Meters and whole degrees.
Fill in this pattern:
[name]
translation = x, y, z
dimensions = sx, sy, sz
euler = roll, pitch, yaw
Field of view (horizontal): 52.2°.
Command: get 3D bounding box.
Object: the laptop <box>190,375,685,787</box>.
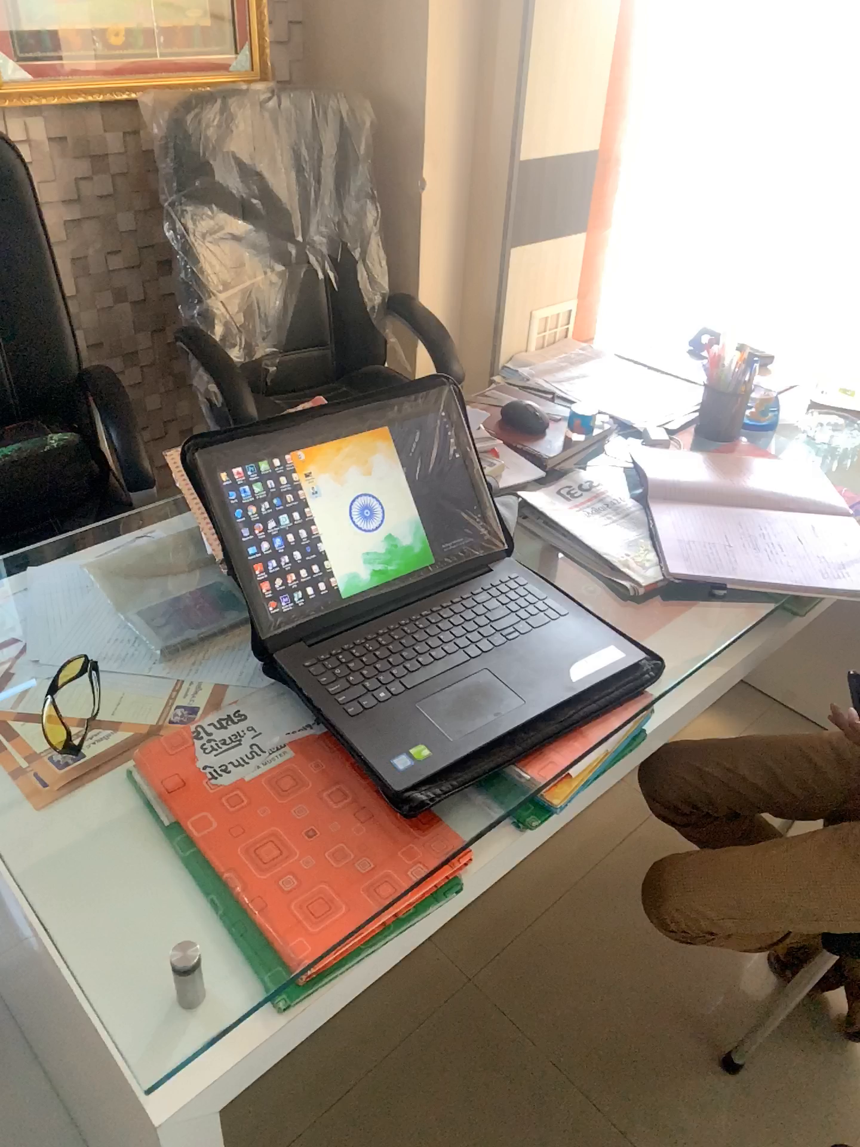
[laptop]
translation = -0.009, -0.029, 0.943
dimensions = 0.334, 0.175, 0.391
euler = -21, 42, -30
